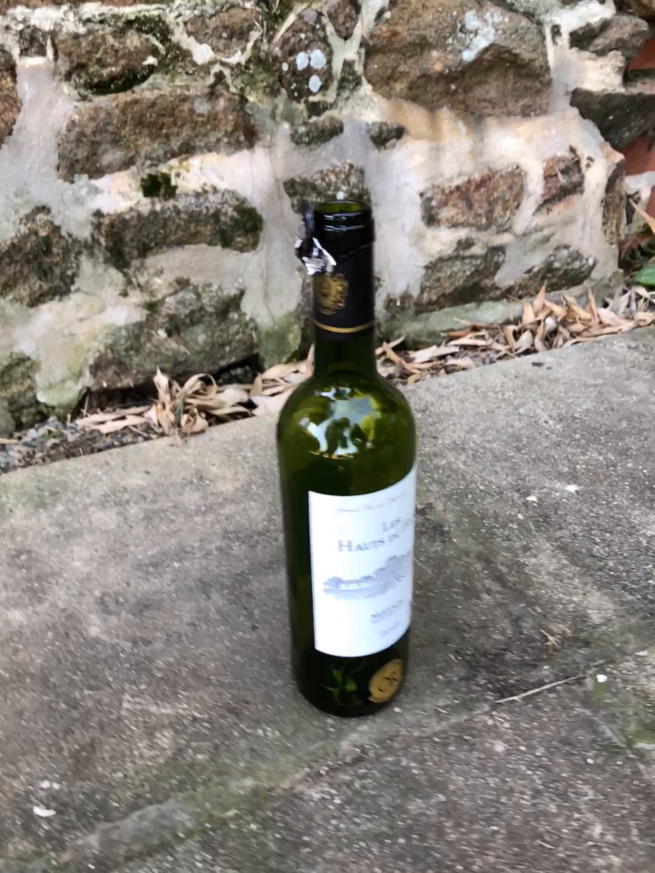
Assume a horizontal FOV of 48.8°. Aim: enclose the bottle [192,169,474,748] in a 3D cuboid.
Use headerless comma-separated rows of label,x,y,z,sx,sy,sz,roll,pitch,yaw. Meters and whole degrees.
bottle,0.006,0.021,0.383,0.090,0.288,0.080,-23,37,-30
